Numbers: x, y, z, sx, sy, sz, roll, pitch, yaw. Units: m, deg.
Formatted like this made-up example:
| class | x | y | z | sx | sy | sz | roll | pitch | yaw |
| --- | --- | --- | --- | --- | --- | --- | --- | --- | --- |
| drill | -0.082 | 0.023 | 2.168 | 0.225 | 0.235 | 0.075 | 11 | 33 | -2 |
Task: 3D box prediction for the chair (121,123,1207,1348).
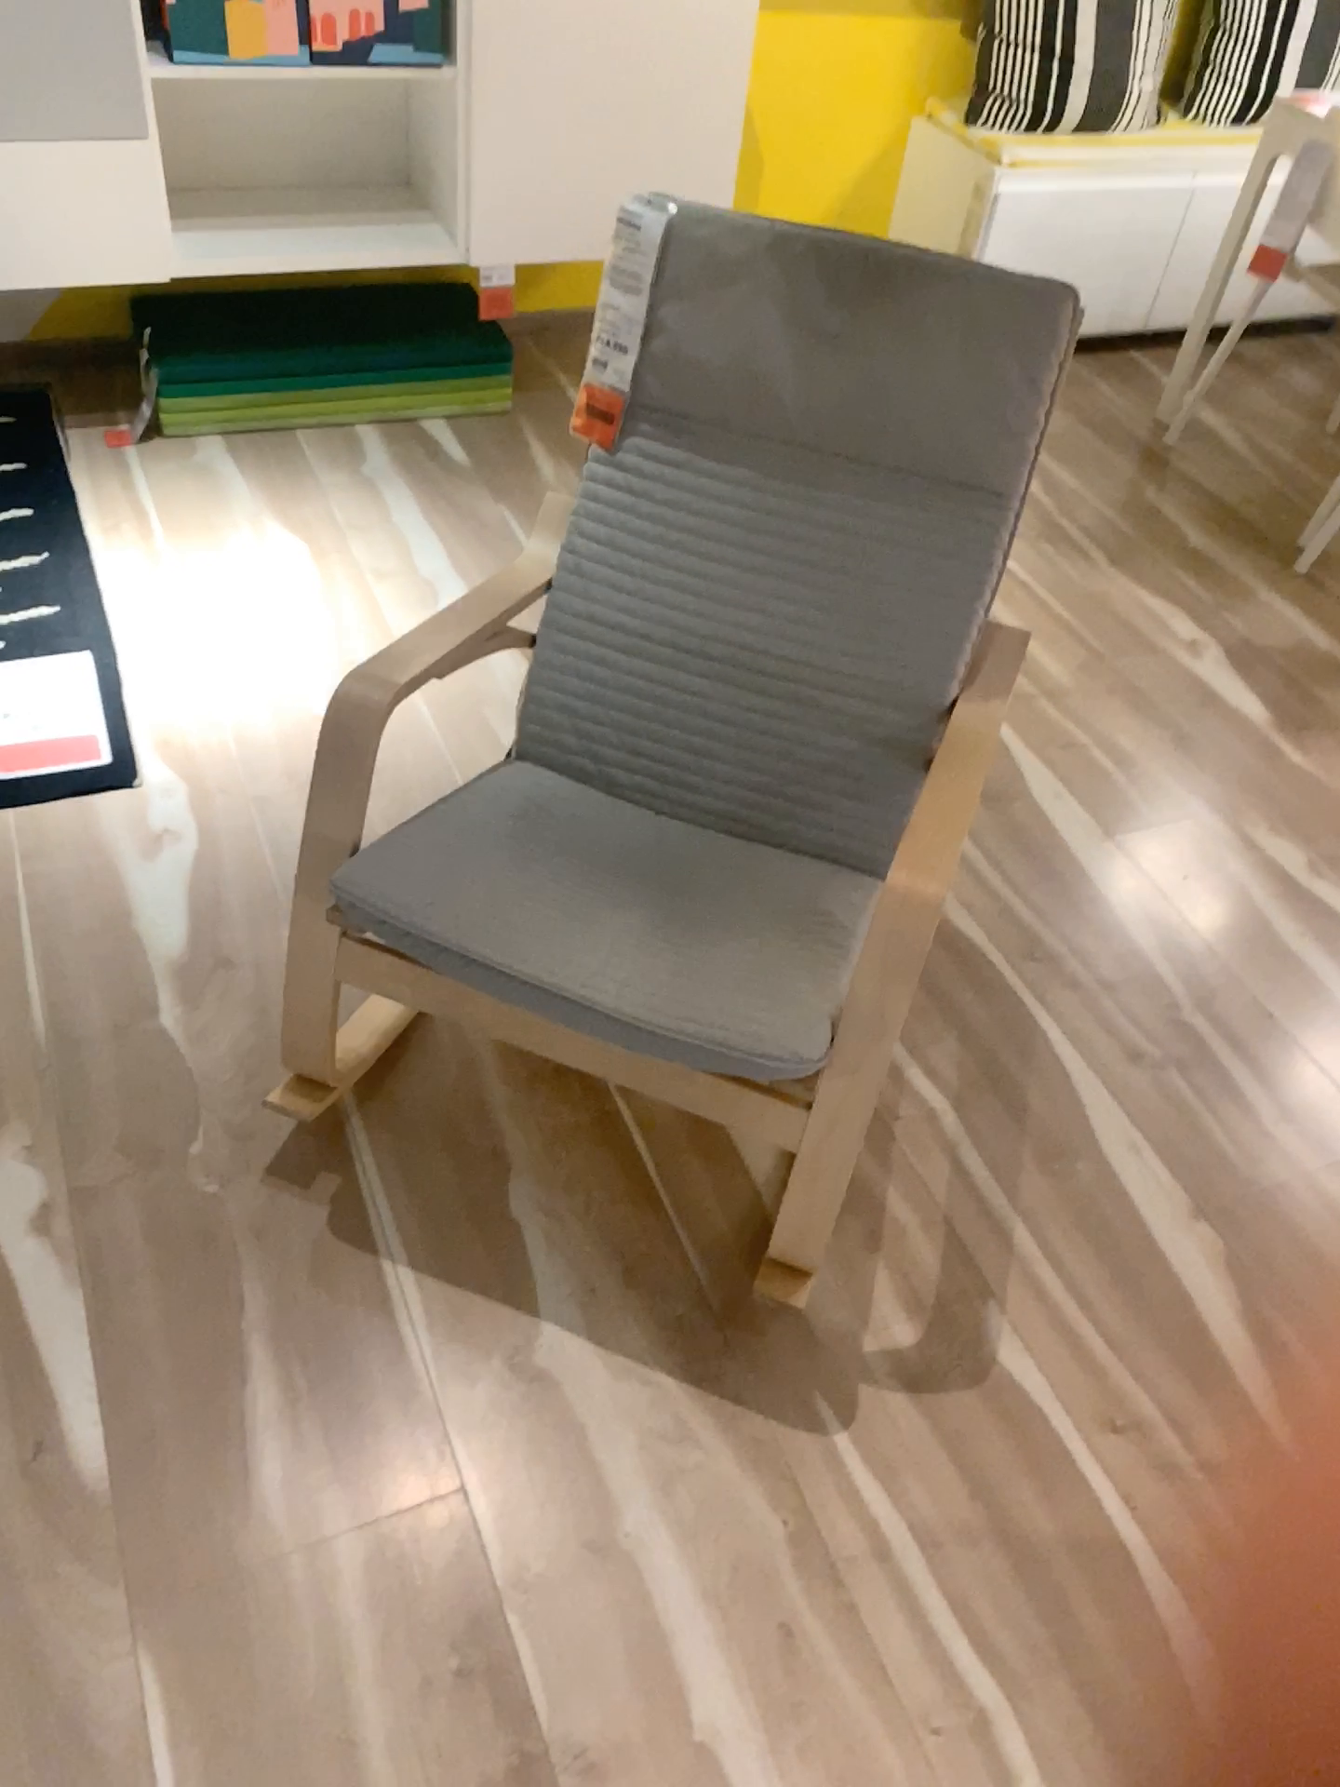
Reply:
| class | x | y | z | sx | sy | sz | roll | pitch | yaw |
| --- | --- | --- | --- | --- | --- | --- | --- | --- | --- |
| chair | 0.018 | -0.169 | 1.488 | 0.730 | 0.917 | 0.722 | 19 | 45 | 10 |
